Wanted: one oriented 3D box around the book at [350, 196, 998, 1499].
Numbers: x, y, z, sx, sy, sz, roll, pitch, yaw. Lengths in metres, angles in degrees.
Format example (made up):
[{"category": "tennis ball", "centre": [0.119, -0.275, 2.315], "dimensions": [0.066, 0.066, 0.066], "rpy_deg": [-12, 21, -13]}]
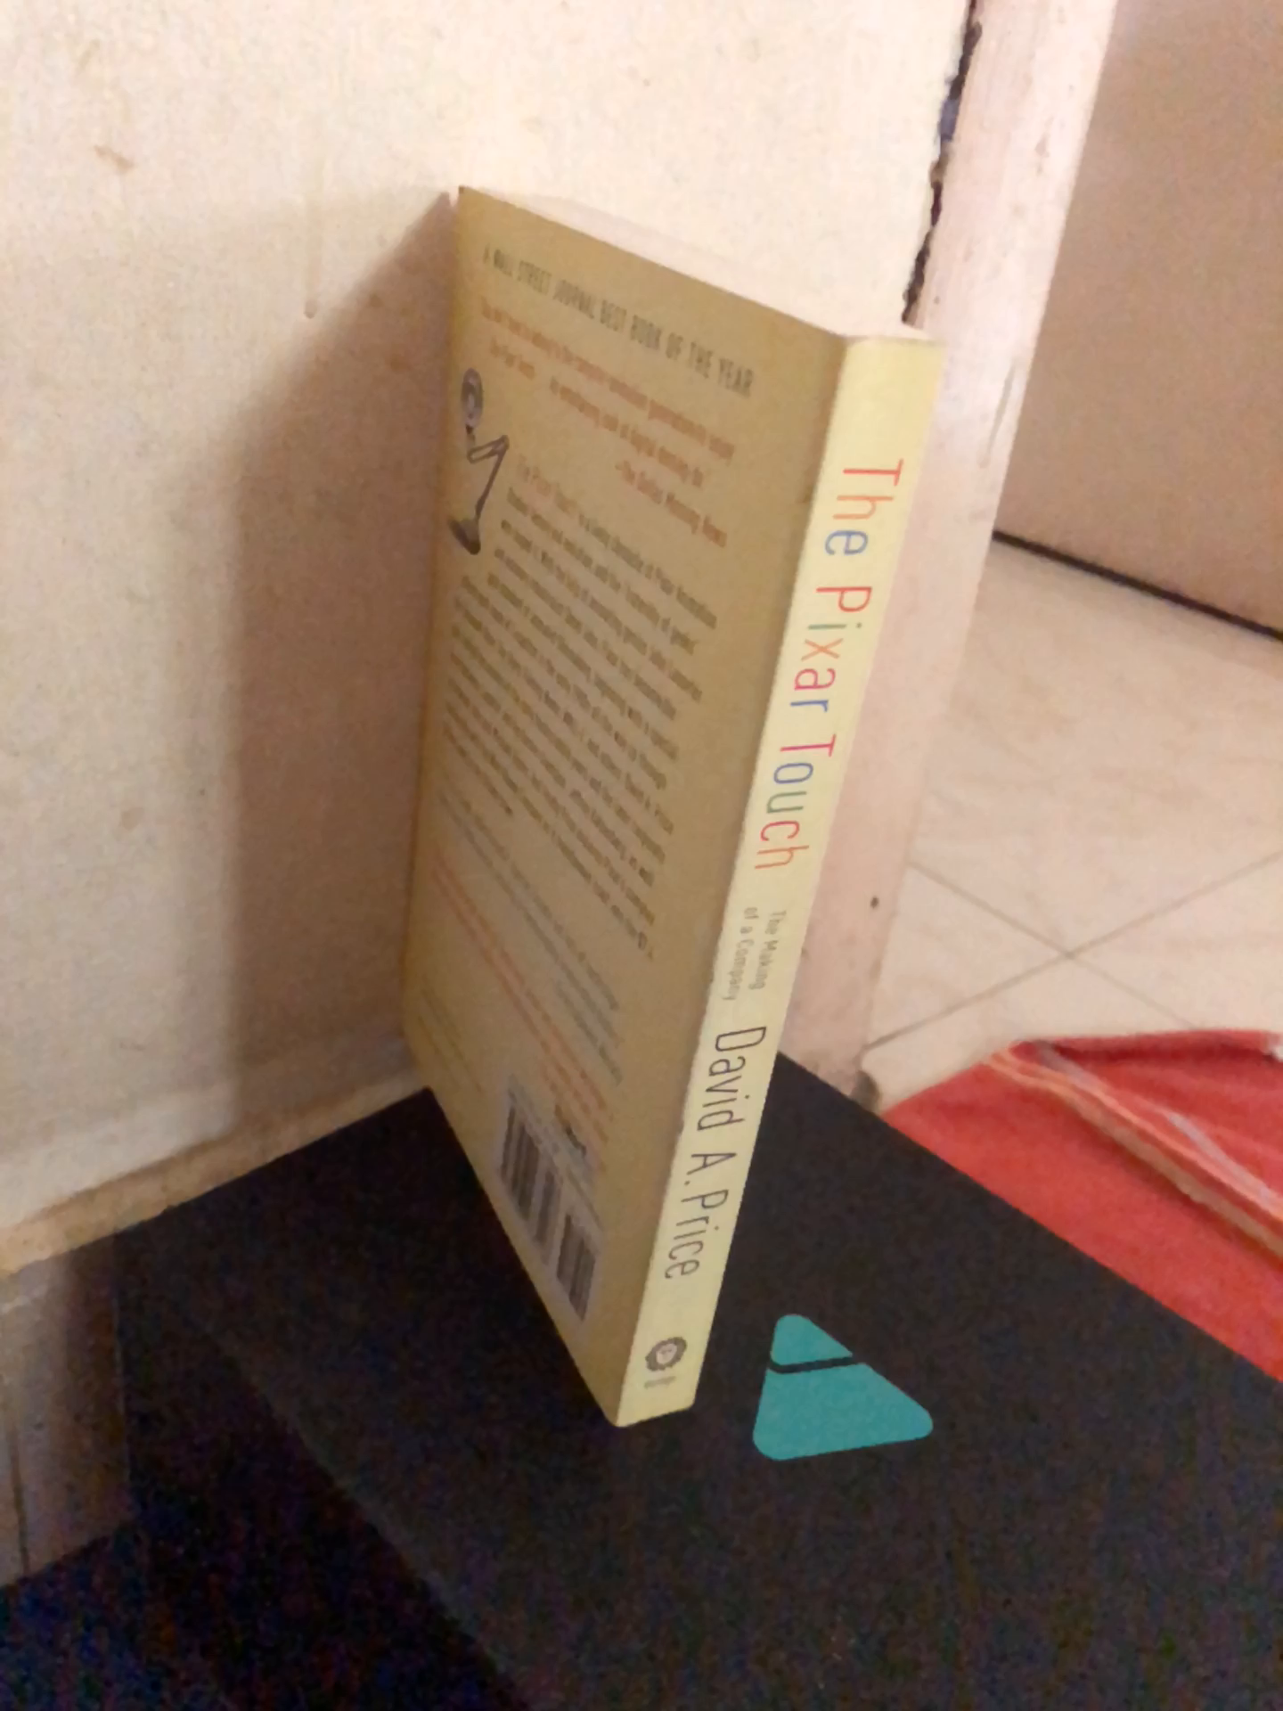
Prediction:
[{"category": "book", "centre": [-0.014, -0.007, 0.273], "dimensions": [0.030, 0.199, 0.140], "rpy_deg": [-6, 31, -28]}]
